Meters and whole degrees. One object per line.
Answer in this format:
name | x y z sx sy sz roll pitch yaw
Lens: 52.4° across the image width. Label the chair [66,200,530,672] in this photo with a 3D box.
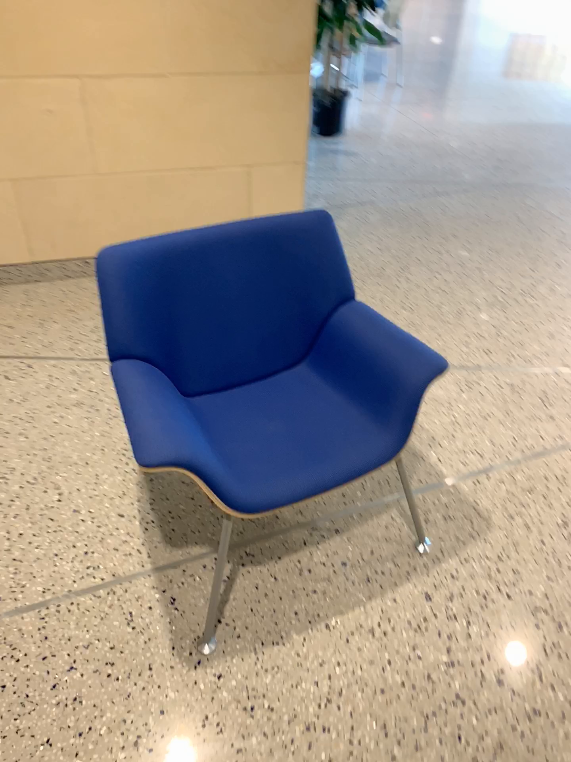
chair | -0.031 0.072 1.532 0.780 0.727 0.762 -16 42 -22
